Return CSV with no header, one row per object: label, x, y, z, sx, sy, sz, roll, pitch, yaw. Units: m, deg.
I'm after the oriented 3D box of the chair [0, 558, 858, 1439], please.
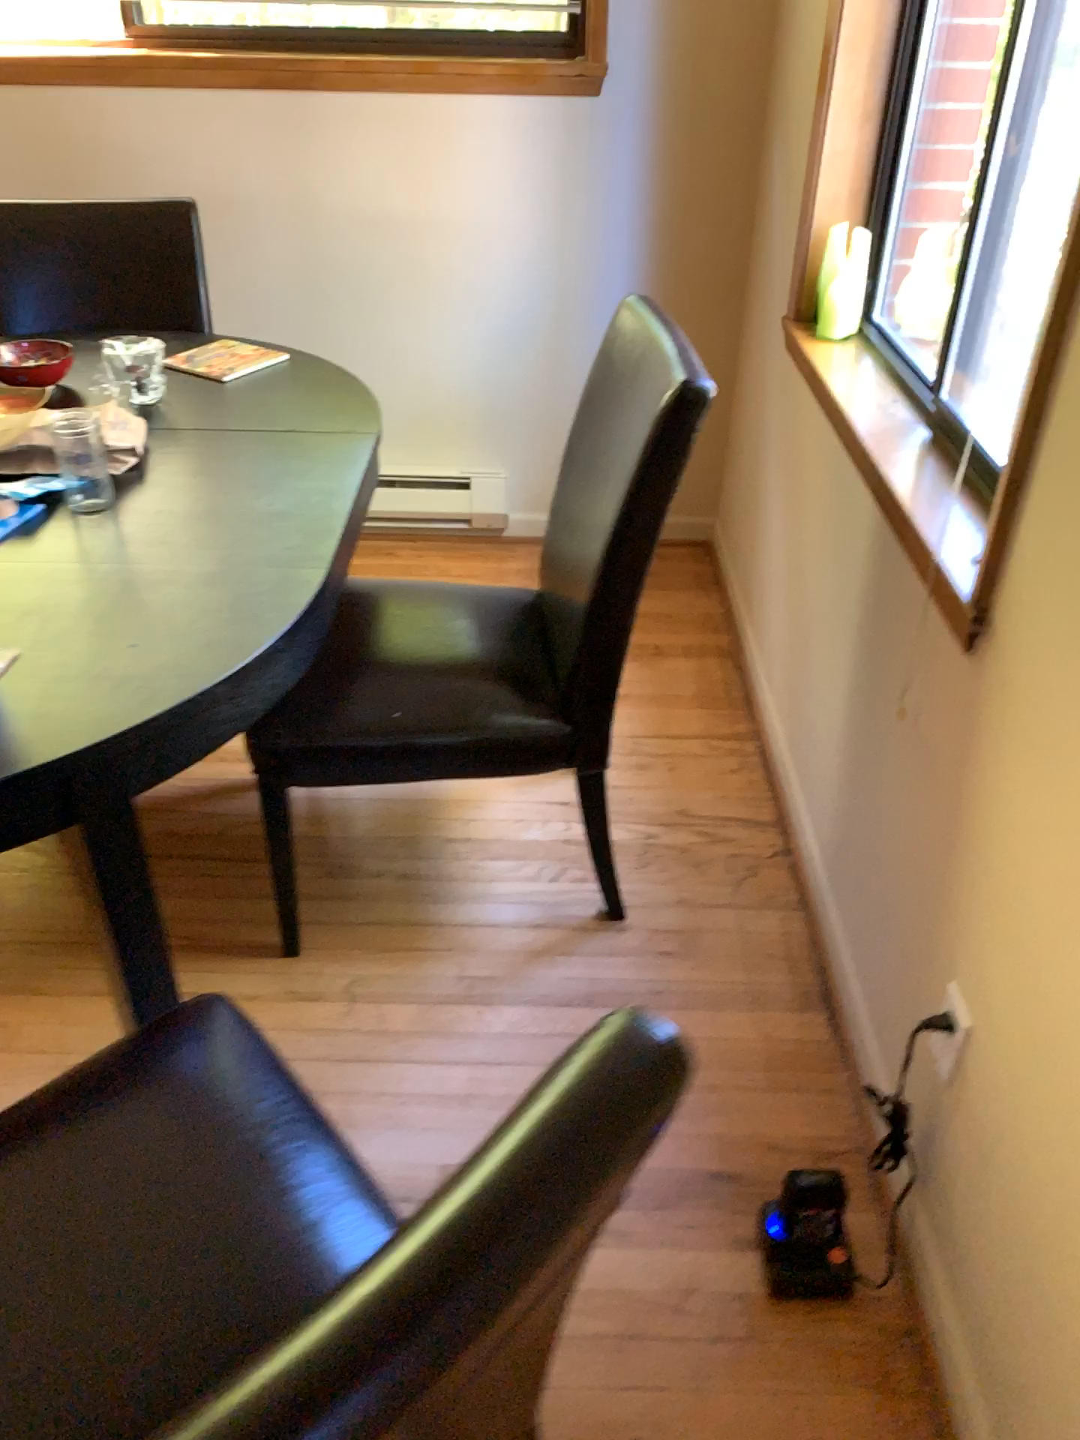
chair,-0.293,0.565,0.883,0.653,1.084,0.621,30,43,35
